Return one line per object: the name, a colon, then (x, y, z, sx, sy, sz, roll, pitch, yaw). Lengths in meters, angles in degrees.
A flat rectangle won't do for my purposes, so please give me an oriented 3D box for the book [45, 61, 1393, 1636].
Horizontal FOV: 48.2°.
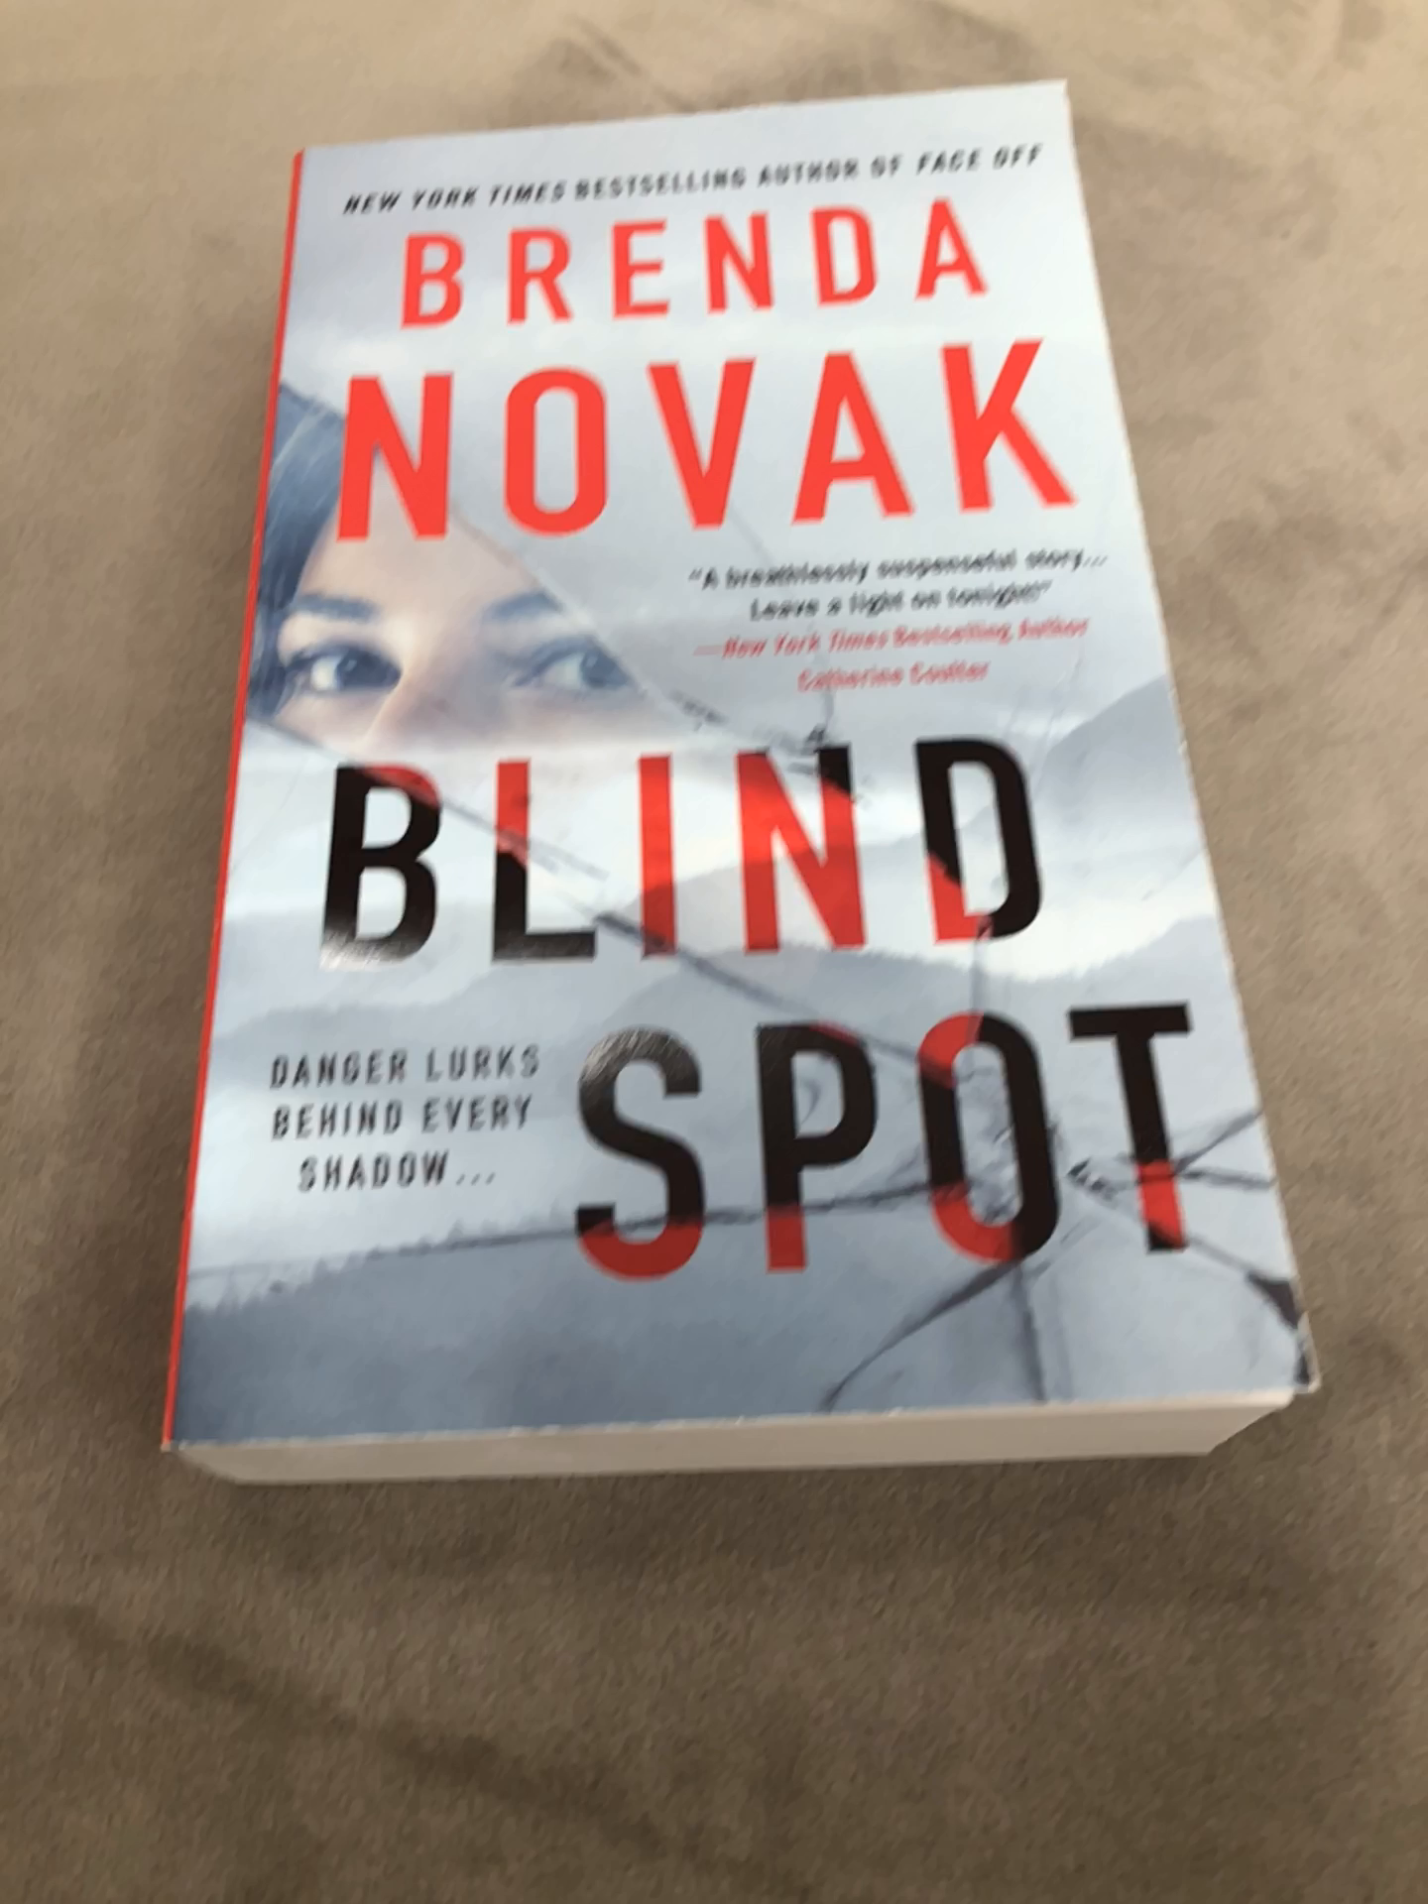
book: (-0.003, -0.020, 0.205, 0.120, 0.050, 0.191, -5, 64, 5)
